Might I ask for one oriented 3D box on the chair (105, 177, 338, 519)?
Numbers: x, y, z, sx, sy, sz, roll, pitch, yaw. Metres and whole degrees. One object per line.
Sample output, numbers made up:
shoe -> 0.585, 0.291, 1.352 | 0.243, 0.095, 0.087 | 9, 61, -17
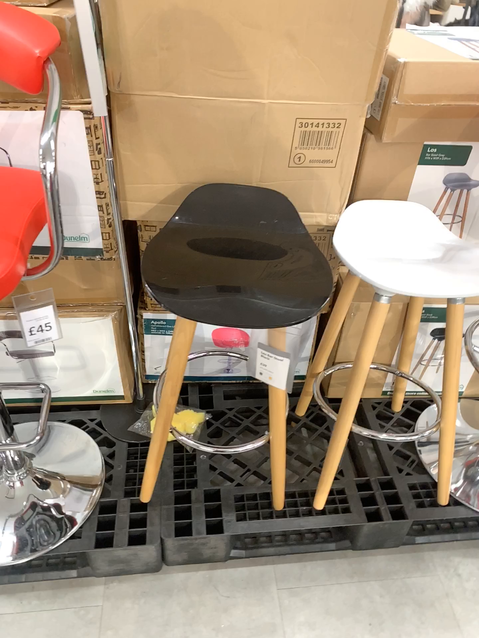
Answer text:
chair -> -0.043, 0.094, 1.183 | 0.384, 0.721, 0.400 | 3, 38, -1

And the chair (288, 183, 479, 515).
chair -> 0.386, 0.092, 1.221 | 0.384, 0.721, 0.420 | -1, 38, -6

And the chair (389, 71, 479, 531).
chair -> 0.781, 0.009, 1.162 | 0.474, 0.978, 0.481 | -1, 38, -6
